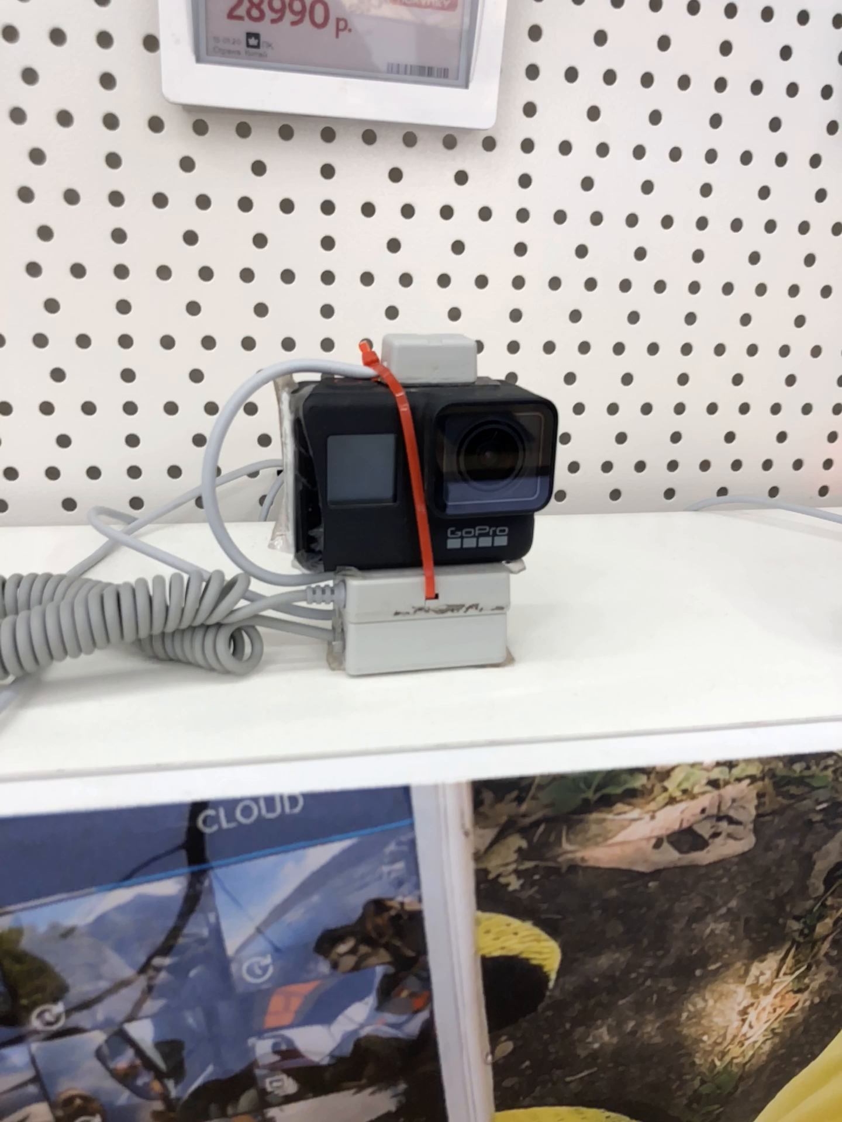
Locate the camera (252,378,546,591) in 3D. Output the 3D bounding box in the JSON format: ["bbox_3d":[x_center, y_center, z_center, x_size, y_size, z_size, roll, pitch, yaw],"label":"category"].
[{"bbox_3d":[-0.007,-0.021,0.229,0.064,0.043,0.032,-4,20,-16],"label":"camera"}]
